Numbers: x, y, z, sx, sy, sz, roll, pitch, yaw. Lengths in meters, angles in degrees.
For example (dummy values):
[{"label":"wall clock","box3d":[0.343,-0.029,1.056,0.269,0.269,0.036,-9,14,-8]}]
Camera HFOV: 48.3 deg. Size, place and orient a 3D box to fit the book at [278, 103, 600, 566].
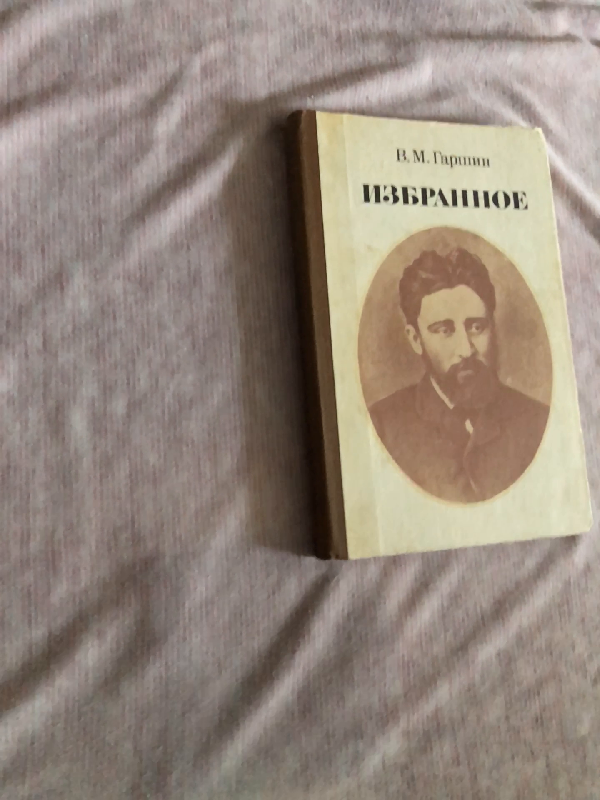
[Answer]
[{"label":"book","box3d":[0.070,-0.037,0.343,0.142,0.030,0.220,-3,82,-16]}]
